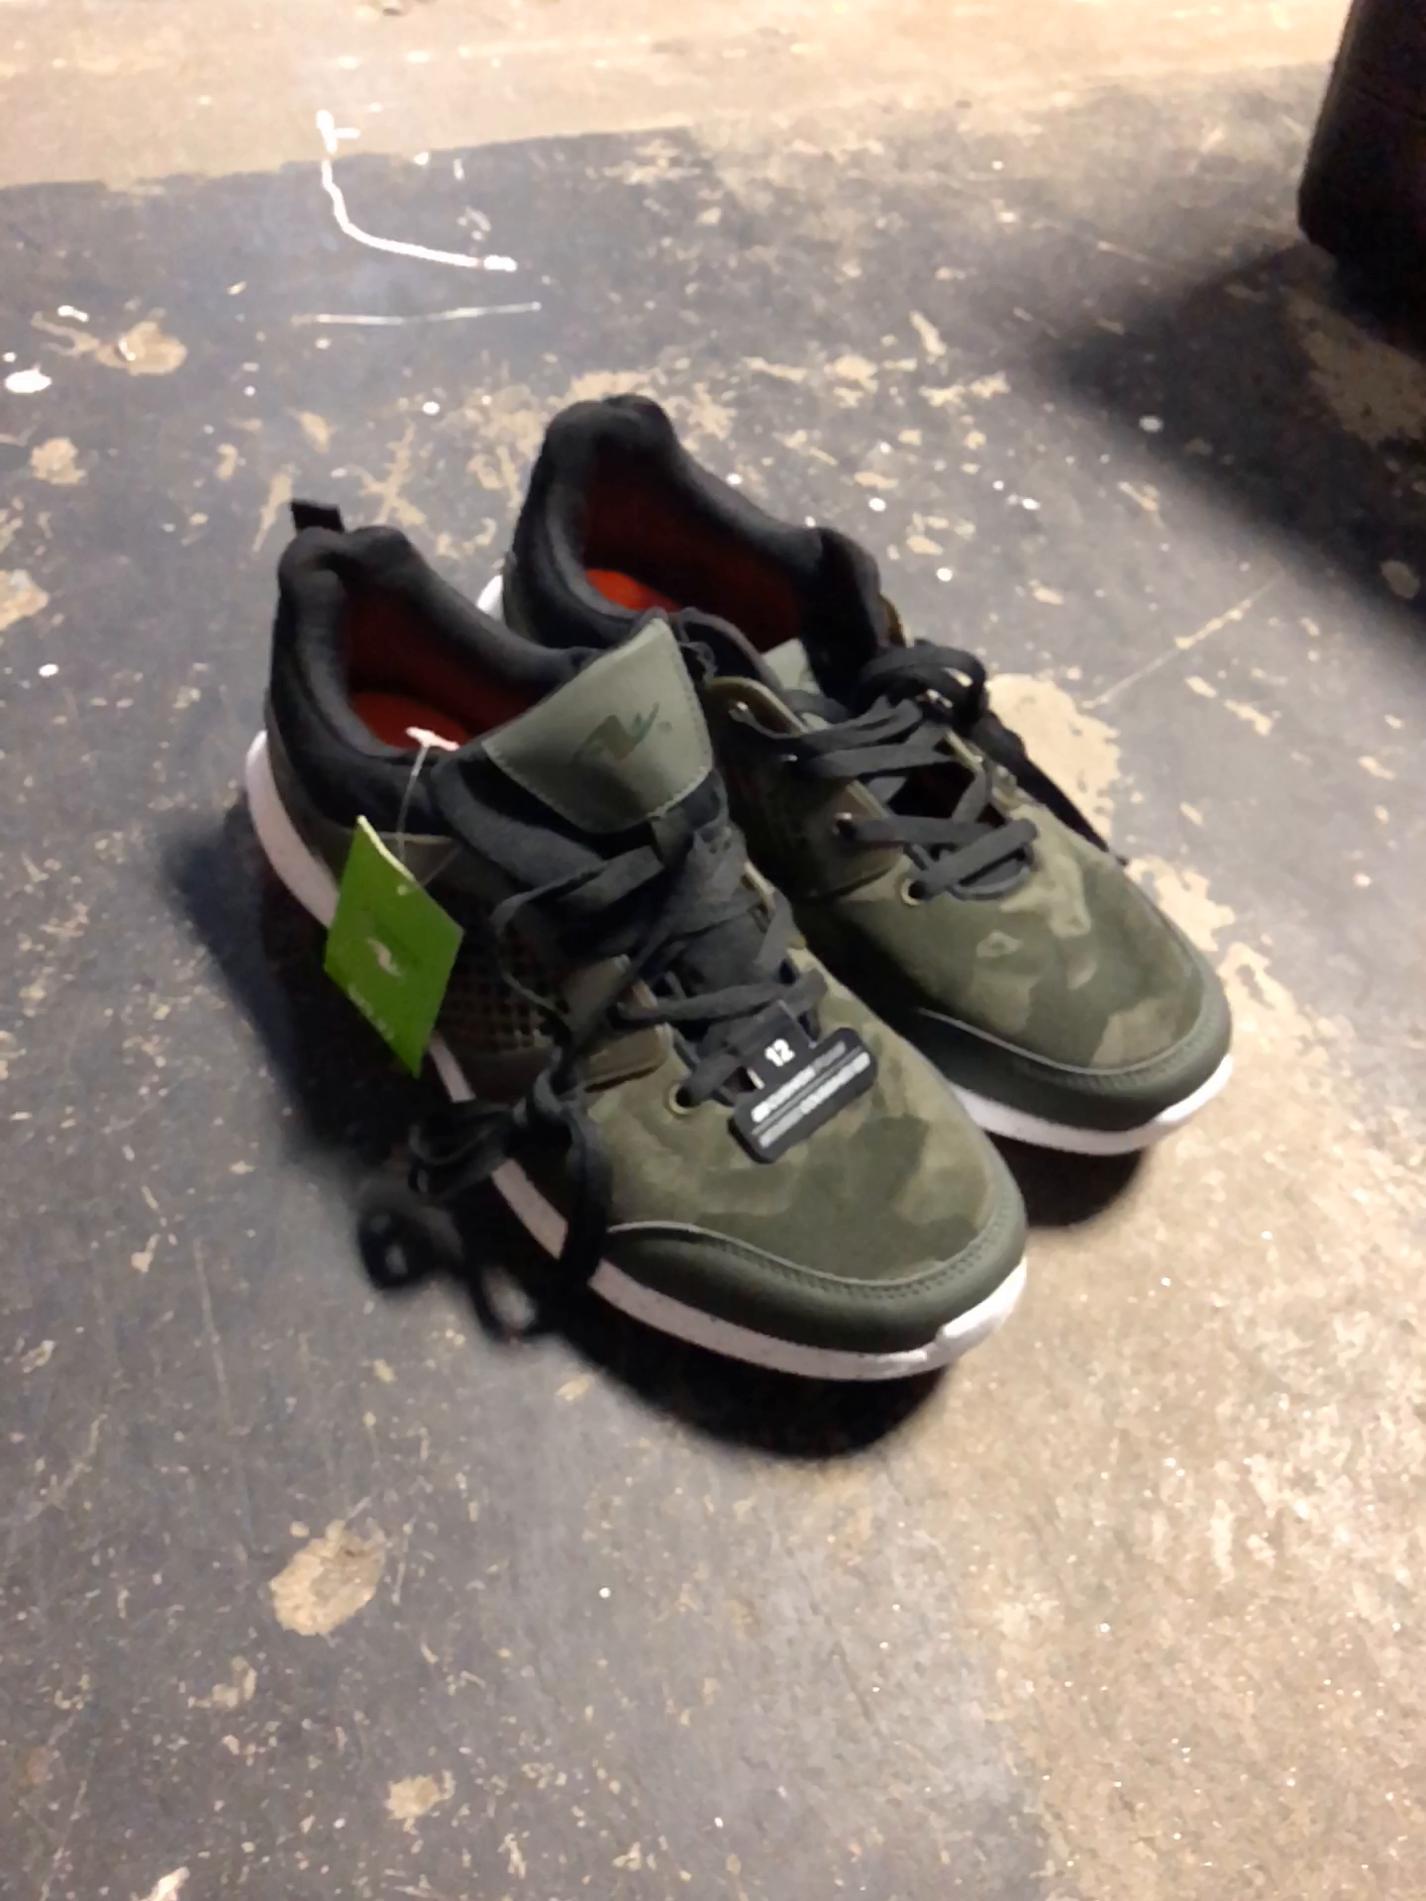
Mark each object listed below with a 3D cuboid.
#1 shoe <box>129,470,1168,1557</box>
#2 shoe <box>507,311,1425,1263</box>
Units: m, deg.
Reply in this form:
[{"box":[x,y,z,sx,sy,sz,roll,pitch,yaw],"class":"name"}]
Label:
[{"box":[-0.034,0.006,0.468,0.110,0.119,0.301,-33,64,-26],"class":"shoe"},{"box":[0.062,-0.059,0.497,0.110,0.129,0.271,-33,64,-26],"class":"shoe"}]
